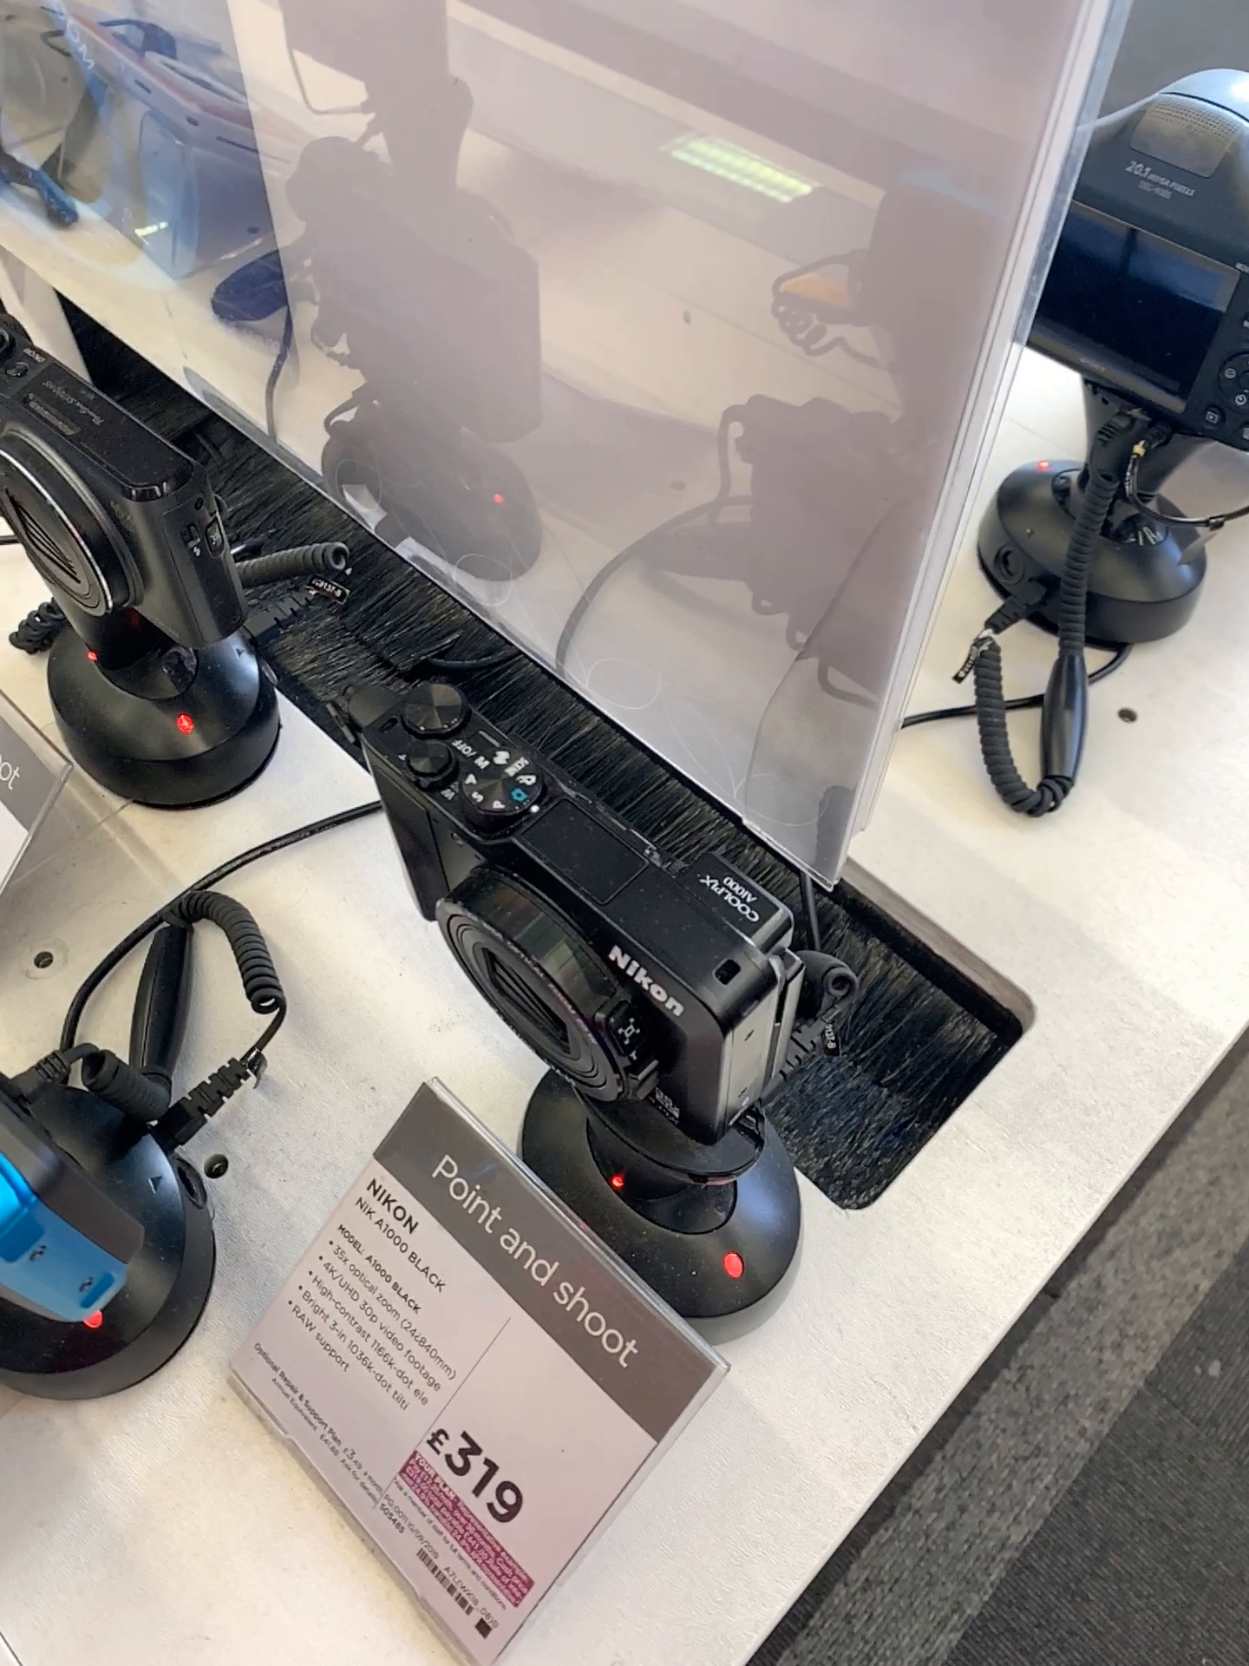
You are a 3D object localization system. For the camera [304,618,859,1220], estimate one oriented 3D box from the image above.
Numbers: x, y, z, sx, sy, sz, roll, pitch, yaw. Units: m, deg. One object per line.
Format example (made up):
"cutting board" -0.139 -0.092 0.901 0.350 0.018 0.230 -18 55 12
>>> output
"camera" -0.012 0.020 0.279 0.120 0.079 0.030 39 64 22
